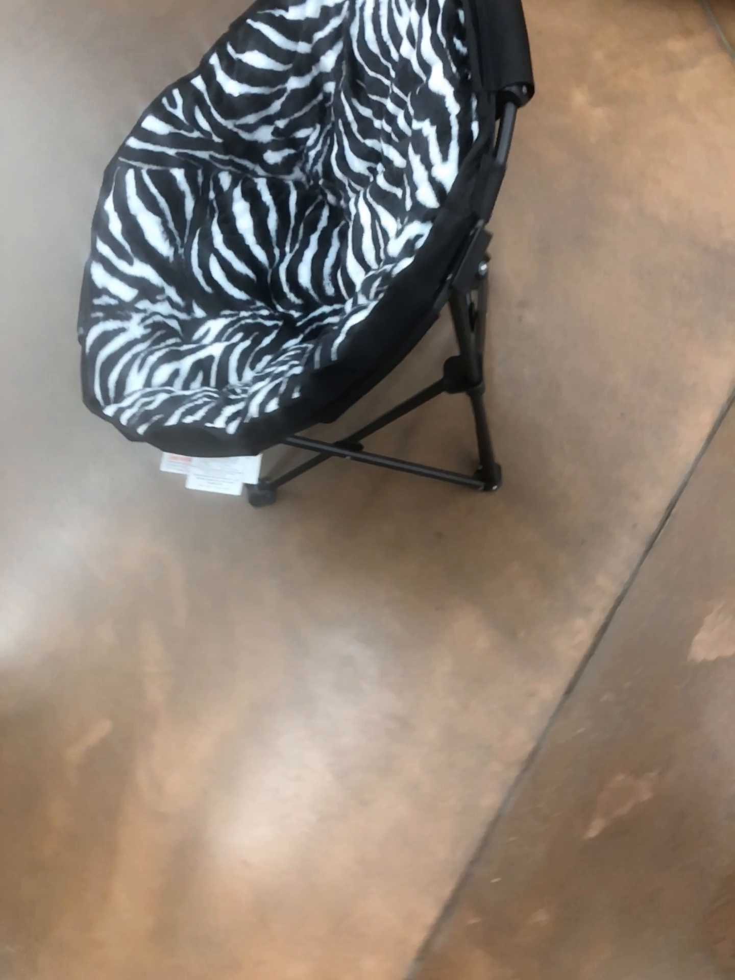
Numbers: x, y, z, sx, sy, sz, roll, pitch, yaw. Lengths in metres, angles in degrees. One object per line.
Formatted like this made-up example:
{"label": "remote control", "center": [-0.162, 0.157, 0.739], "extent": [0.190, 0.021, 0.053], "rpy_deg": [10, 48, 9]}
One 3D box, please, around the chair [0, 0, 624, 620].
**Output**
{"label": "chair", "center": [-0.064, -0.228, 0.983], "extent": [0.600, 0.599, 0.611], "rpy_deg": [-5, 68, 11]}
